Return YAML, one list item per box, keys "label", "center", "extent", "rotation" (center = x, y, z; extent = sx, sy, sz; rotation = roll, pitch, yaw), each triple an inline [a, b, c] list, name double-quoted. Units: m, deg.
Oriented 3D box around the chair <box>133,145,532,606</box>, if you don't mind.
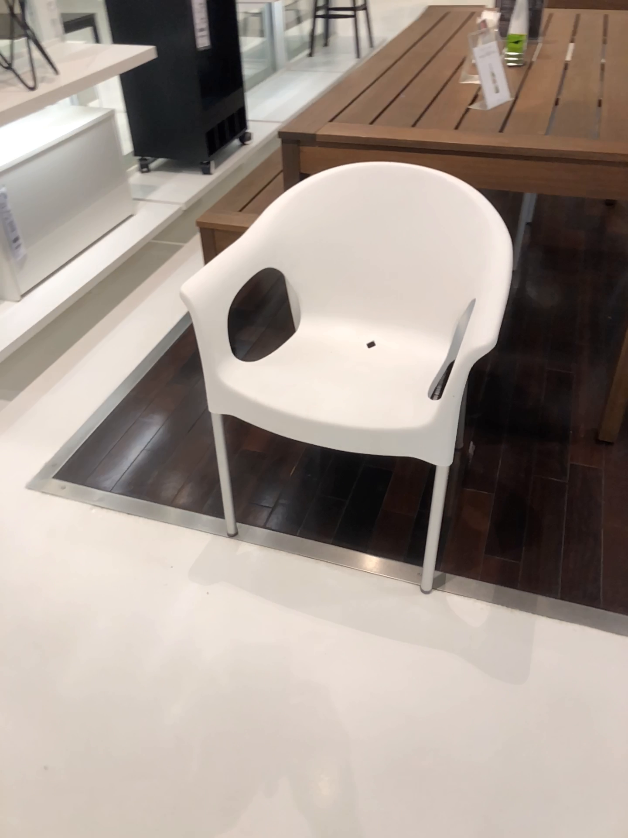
- label: "chair"
  center: [0.083, -0.119, 1.476]
  extent: [0.581, 0.704, 0.564]
  rotation: [11, 40, 17]
